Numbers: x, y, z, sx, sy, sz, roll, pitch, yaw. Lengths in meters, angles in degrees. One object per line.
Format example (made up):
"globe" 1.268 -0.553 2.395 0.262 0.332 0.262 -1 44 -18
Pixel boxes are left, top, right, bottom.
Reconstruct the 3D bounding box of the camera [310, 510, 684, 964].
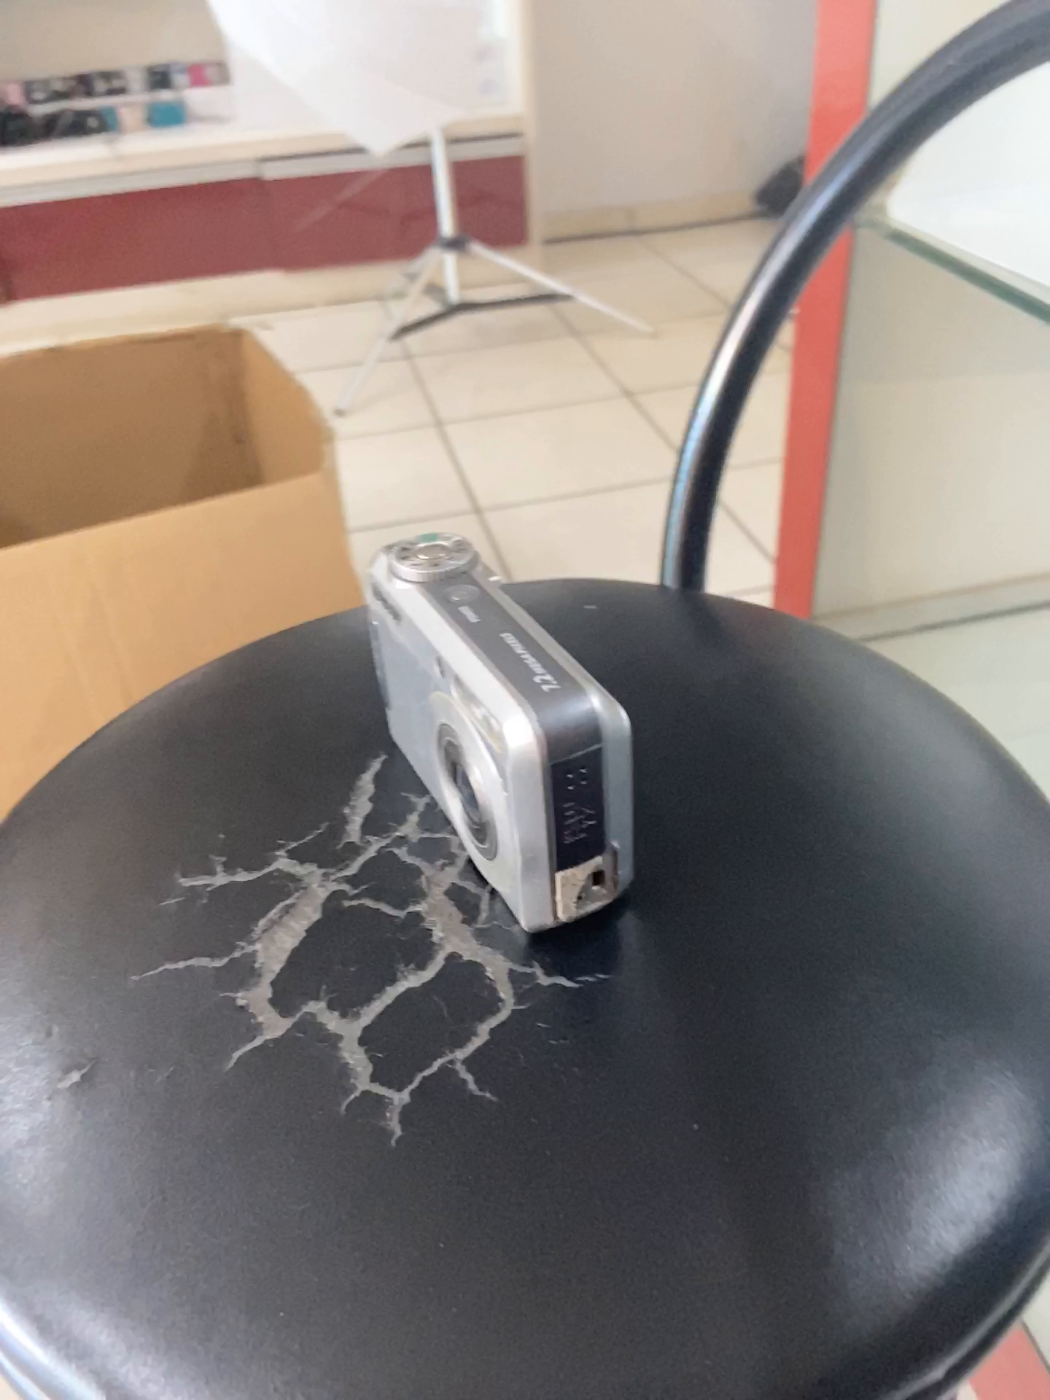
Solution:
"camera" -0.009 0.003 0.252 0.040 0.050 0.100 -21 39 -21
